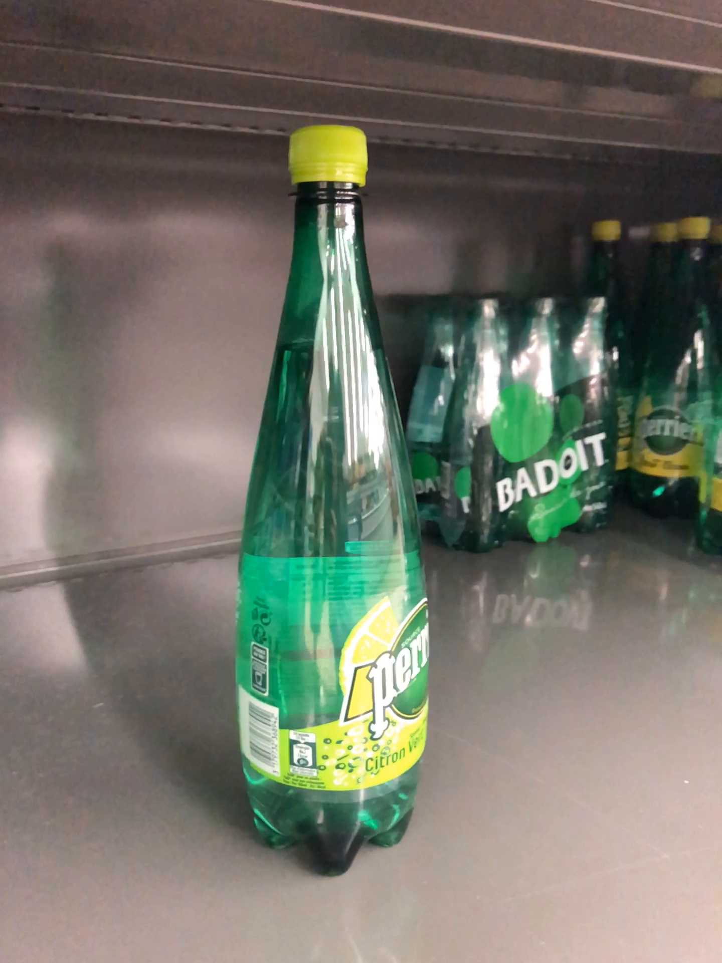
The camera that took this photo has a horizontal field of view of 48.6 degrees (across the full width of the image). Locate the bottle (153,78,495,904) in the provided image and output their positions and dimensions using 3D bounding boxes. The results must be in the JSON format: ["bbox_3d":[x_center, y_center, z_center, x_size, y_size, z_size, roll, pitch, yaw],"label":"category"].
[{"bbox_3d":[-0.011,0.005,0.346,0.090,0.299,0.100,10,17,34],"label":"bottle"}]
